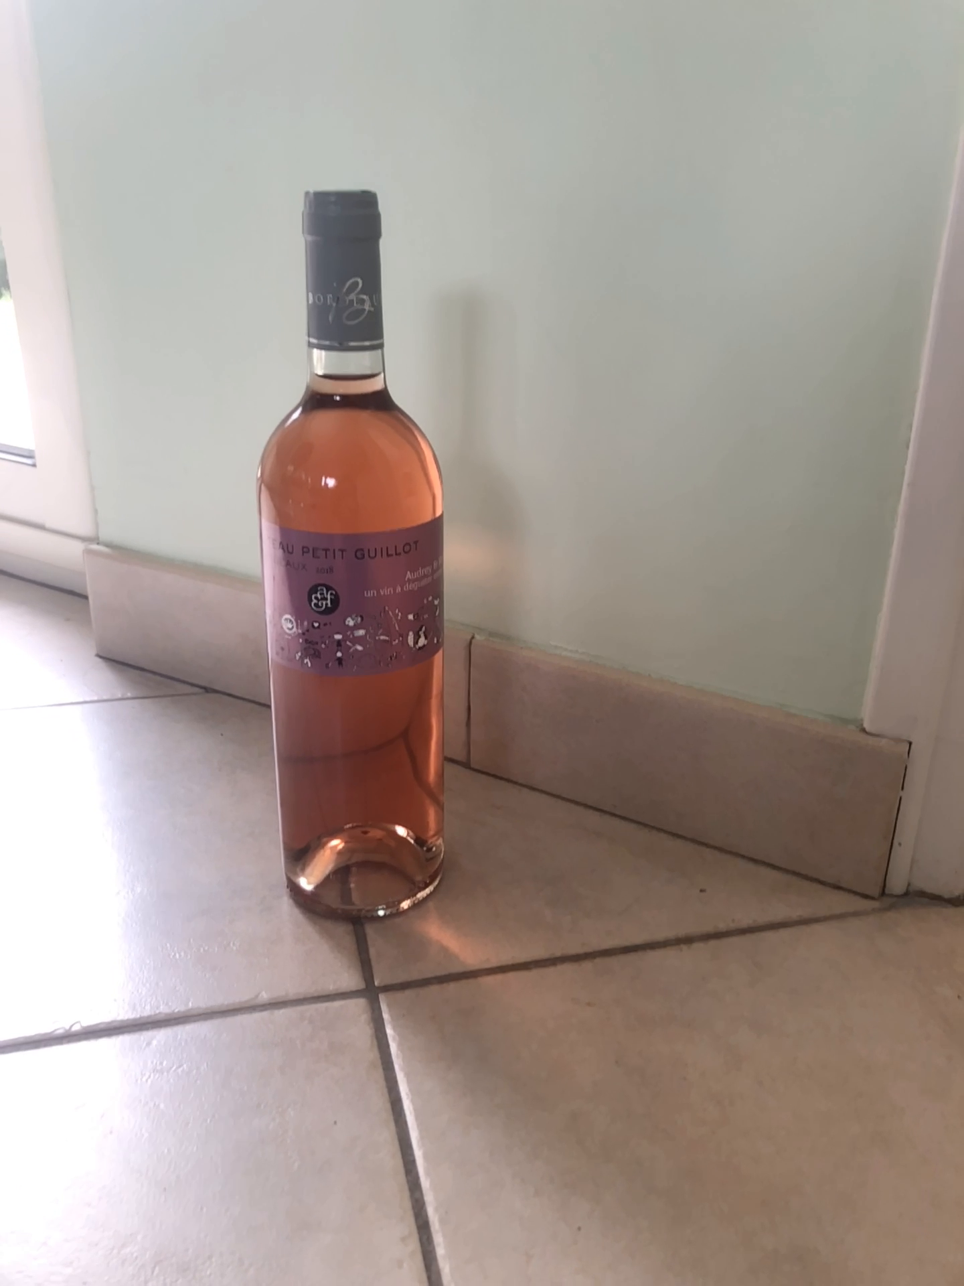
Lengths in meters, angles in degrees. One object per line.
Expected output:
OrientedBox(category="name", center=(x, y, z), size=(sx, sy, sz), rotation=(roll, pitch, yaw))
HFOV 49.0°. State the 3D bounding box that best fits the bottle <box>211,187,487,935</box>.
OrientedBox(category="bottle", center=(-0.054, -0.032, 0.441), size=(0.090, 0.289, 0.090), rotation=(1, 22, 0))
